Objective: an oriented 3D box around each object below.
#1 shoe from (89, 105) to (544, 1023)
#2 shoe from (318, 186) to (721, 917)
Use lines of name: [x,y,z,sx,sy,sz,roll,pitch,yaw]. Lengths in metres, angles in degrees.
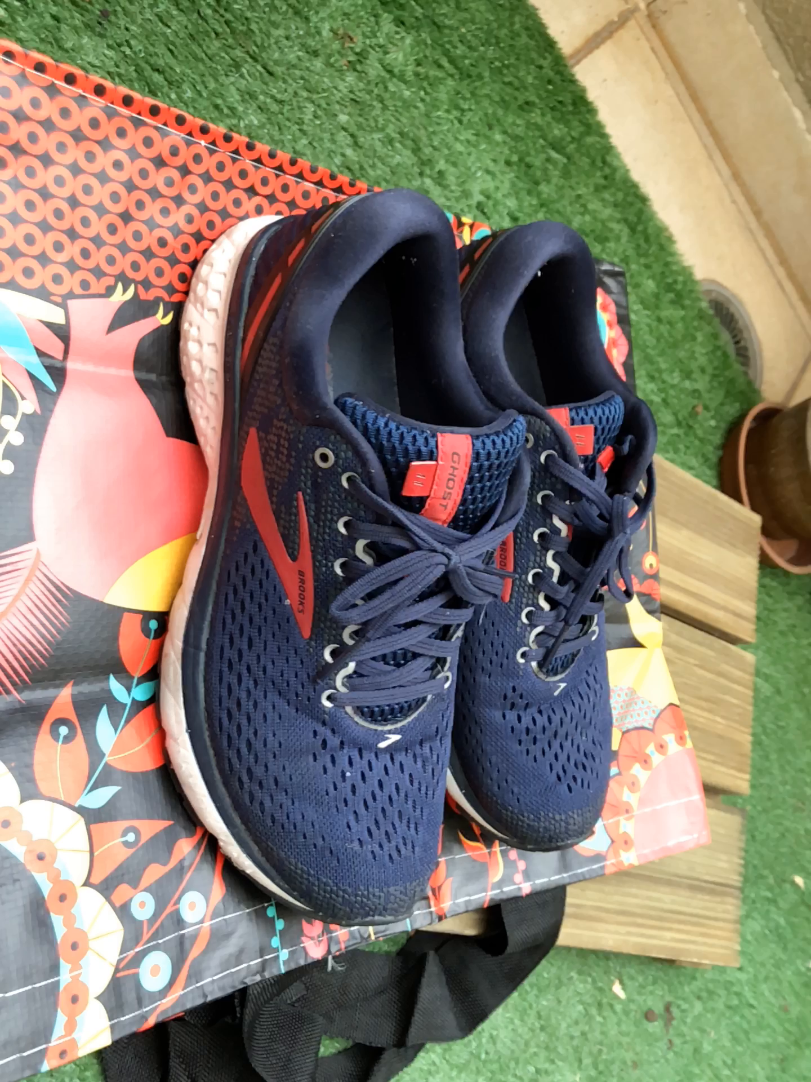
shoe: [-0.038,0.006,0.330,0.108,0.099,0.265,-1,83,-37]
shoe: [0.045,0.004,0.393,0.101,0.099,0.265,-3,84,-38]
